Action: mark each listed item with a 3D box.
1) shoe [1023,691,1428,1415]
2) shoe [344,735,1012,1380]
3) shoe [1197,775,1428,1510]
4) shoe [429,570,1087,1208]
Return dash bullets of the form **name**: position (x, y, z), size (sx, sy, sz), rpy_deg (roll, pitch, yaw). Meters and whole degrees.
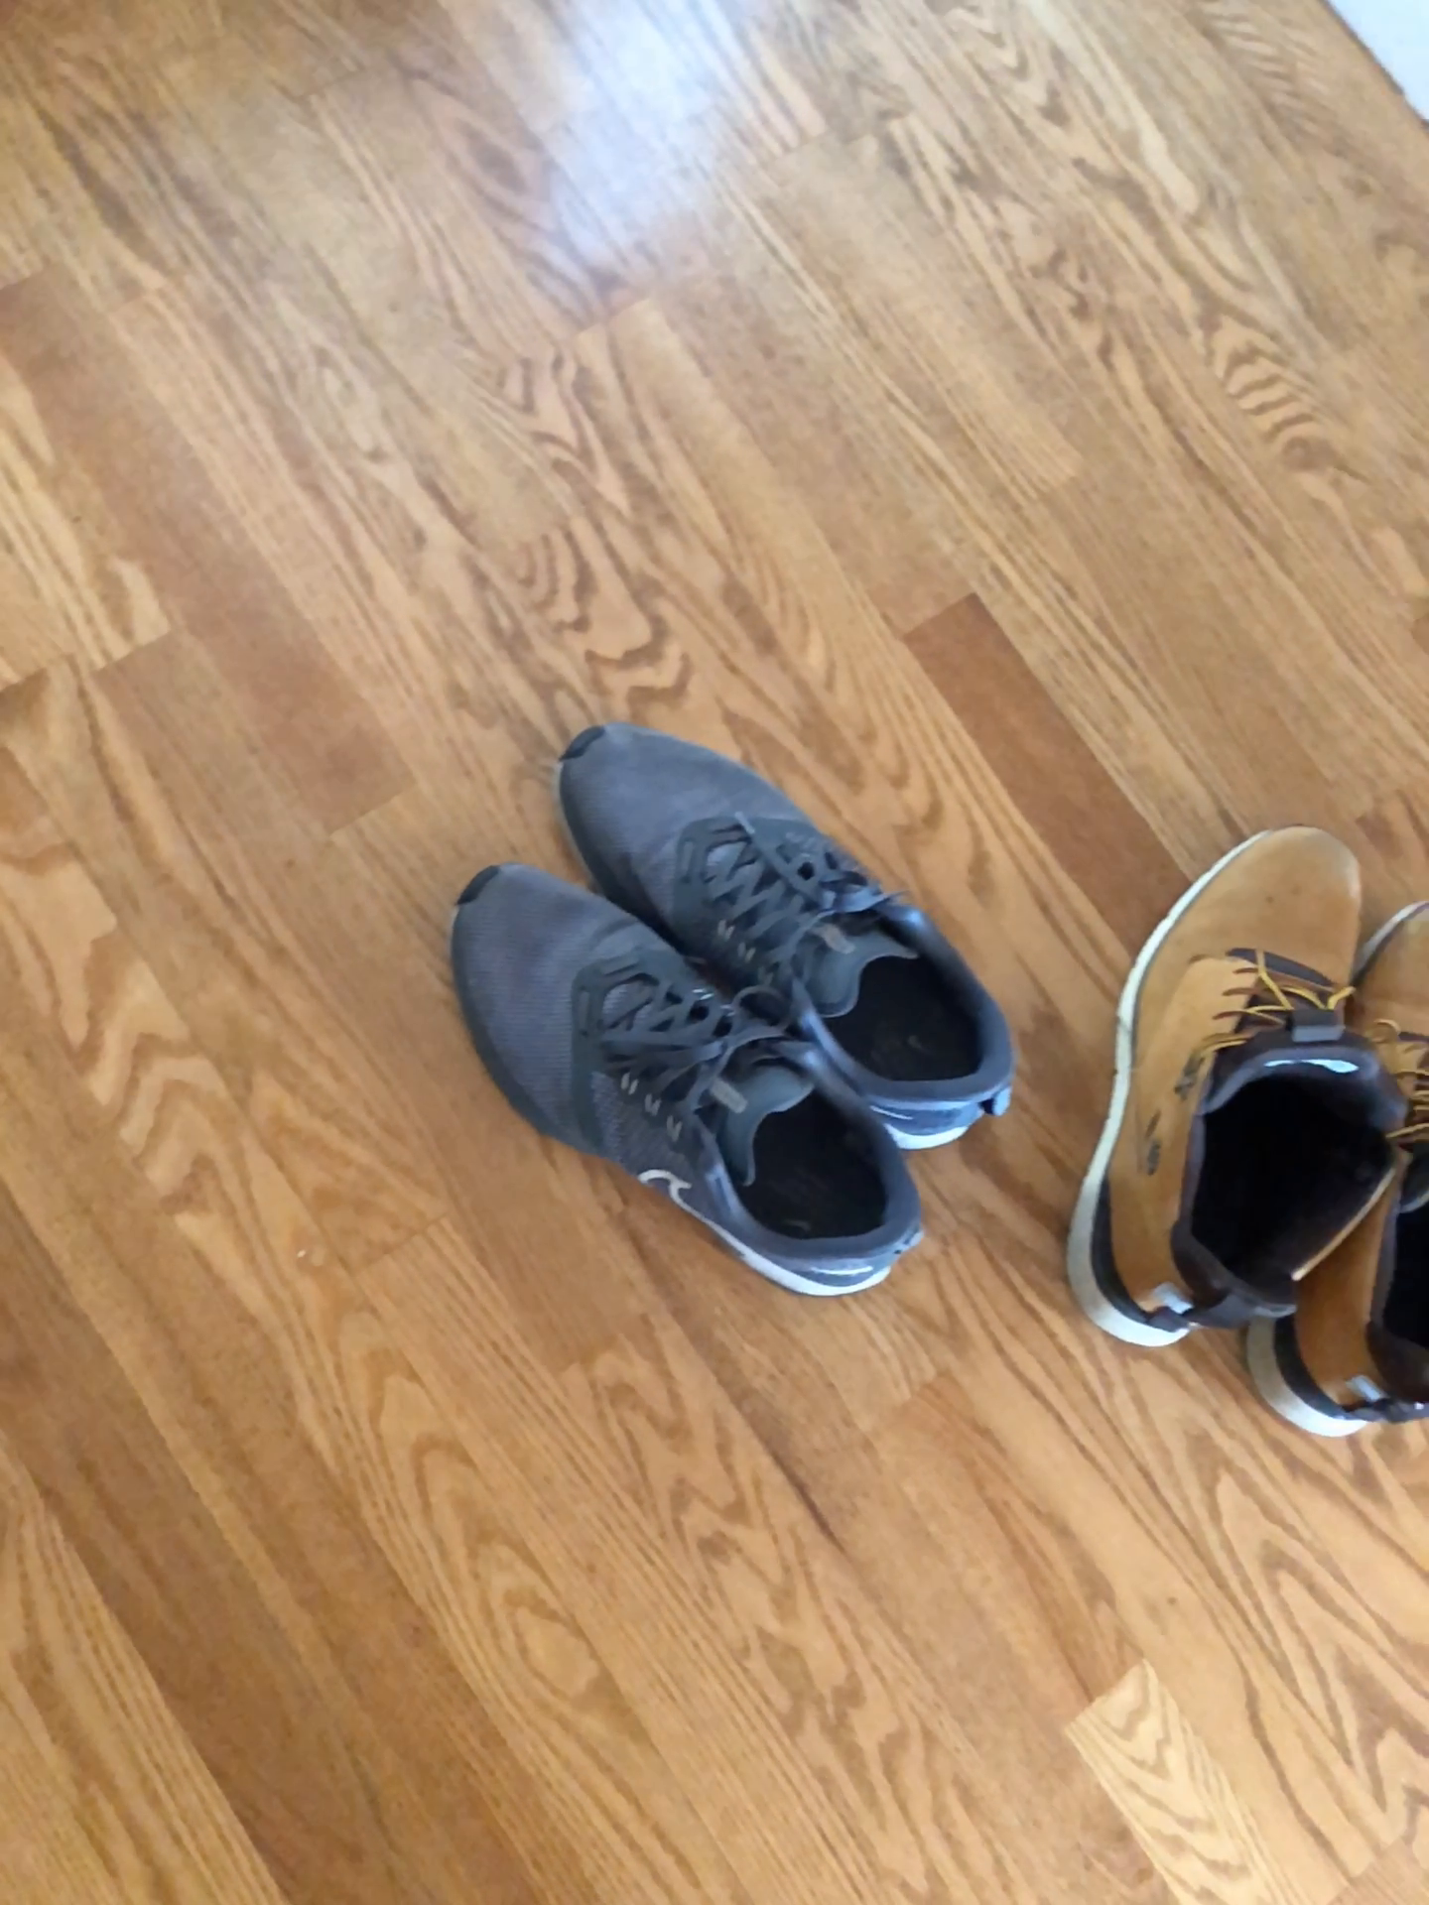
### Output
- **shoe**: position (0.289, 0.054, 0.806), size (0.130, 0.140, 0.320), rpy_deg (22, 75, -3)
- **shoe**: position (-0.023, 0.058, 0.818), size (0.320, 0.100, 0.140), rpy_deg (42, 75, 2)
- **shoe**: position (0.381, 0.096, 0.804), size (0.130, 0.140, 0.320), rpy_deg (22, 75, -3)
- **shoe**: position (0.017, -0.030, 0.846), size (0.330, 0.100, 0.140), rpy_deg (42, 75, 2)
